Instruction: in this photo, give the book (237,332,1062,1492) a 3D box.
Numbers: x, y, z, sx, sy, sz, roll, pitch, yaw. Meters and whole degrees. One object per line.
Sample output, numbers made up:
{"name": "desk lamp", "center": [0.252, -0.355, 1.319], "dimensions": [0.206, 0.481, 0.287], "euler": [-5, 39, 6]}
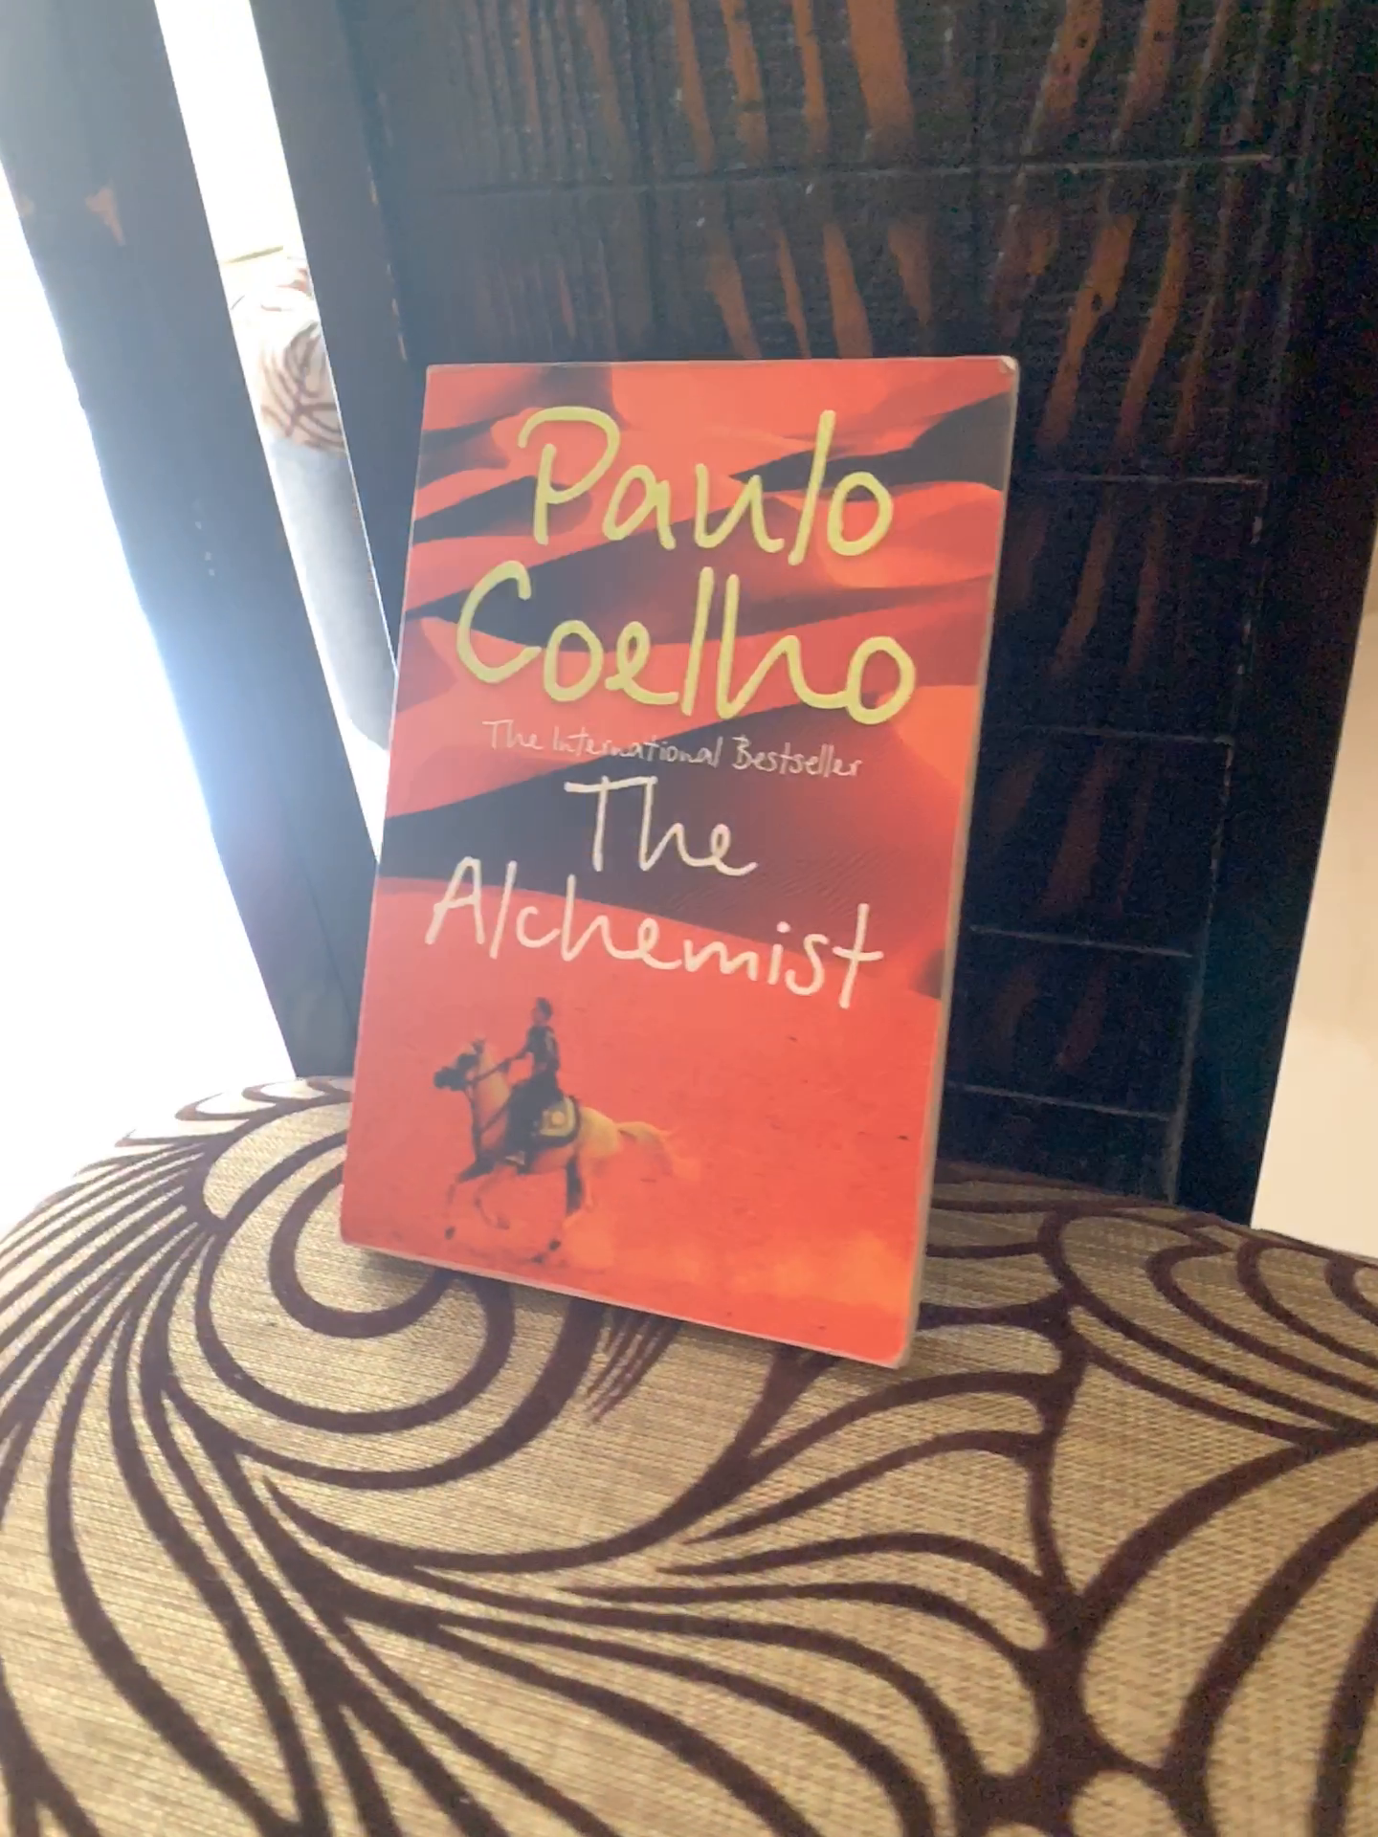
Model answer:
{"name": "book", "center": [-0.007, -0.008, 0.277], "dimensions": [0.140, 0.200, 0.030], "euler": [4, -4, 15]}
